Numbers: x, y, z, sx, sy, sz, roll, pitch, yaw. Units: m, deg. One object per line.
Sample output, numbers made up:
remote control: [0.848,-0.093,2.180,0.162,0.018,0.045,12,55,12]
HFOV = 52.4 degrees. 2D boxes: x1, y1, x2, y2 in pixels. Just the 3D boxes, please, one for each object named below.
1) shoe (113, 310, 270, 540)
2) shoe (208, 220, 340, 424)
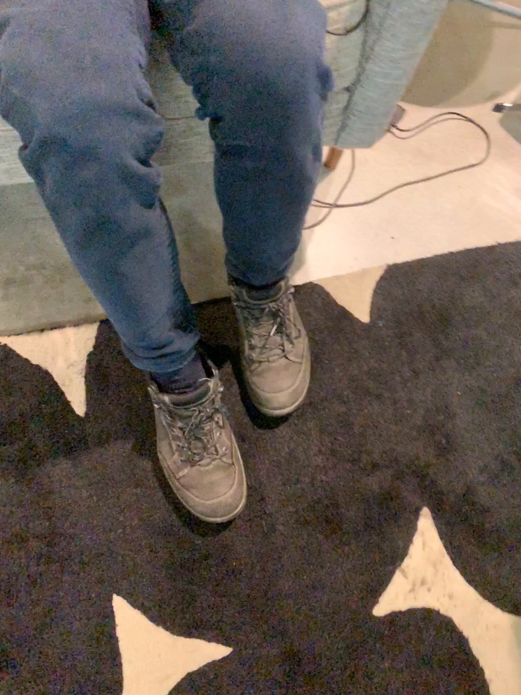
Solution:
shoe: [-0.100,0.107,0.753,0.121,0.077,0.287,-20,76,-10]
shoe: [0.013,-0.040,0.814,0.119,0.077,0.285,-14,75,-9]
